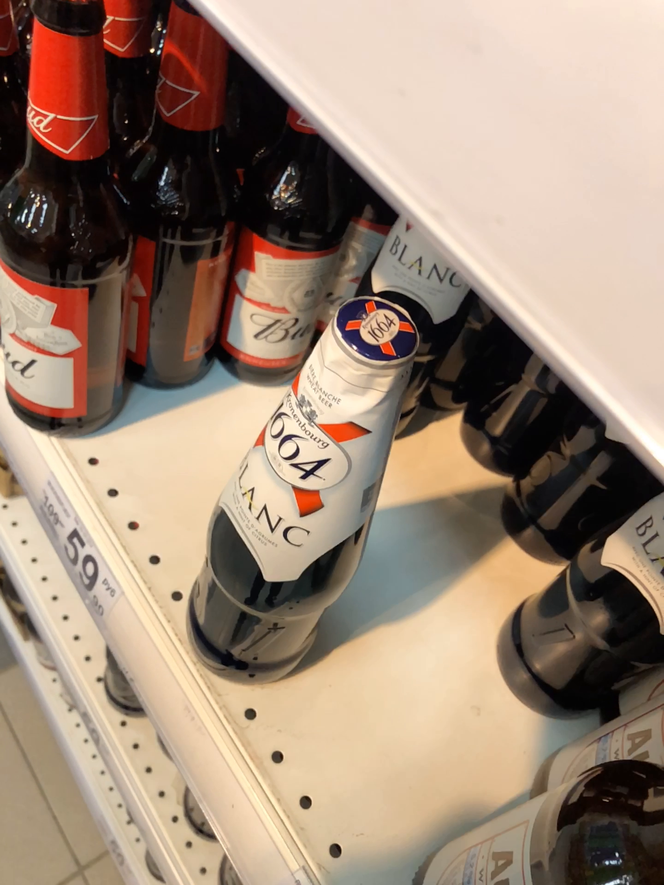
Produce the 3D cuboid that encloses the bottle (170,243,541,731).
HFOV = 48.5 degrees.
[{"bbox_3d":[-0.012,0.038,0.321,0.070,0.234,0.080,-20,61,-29],"label":"bottle"}]
